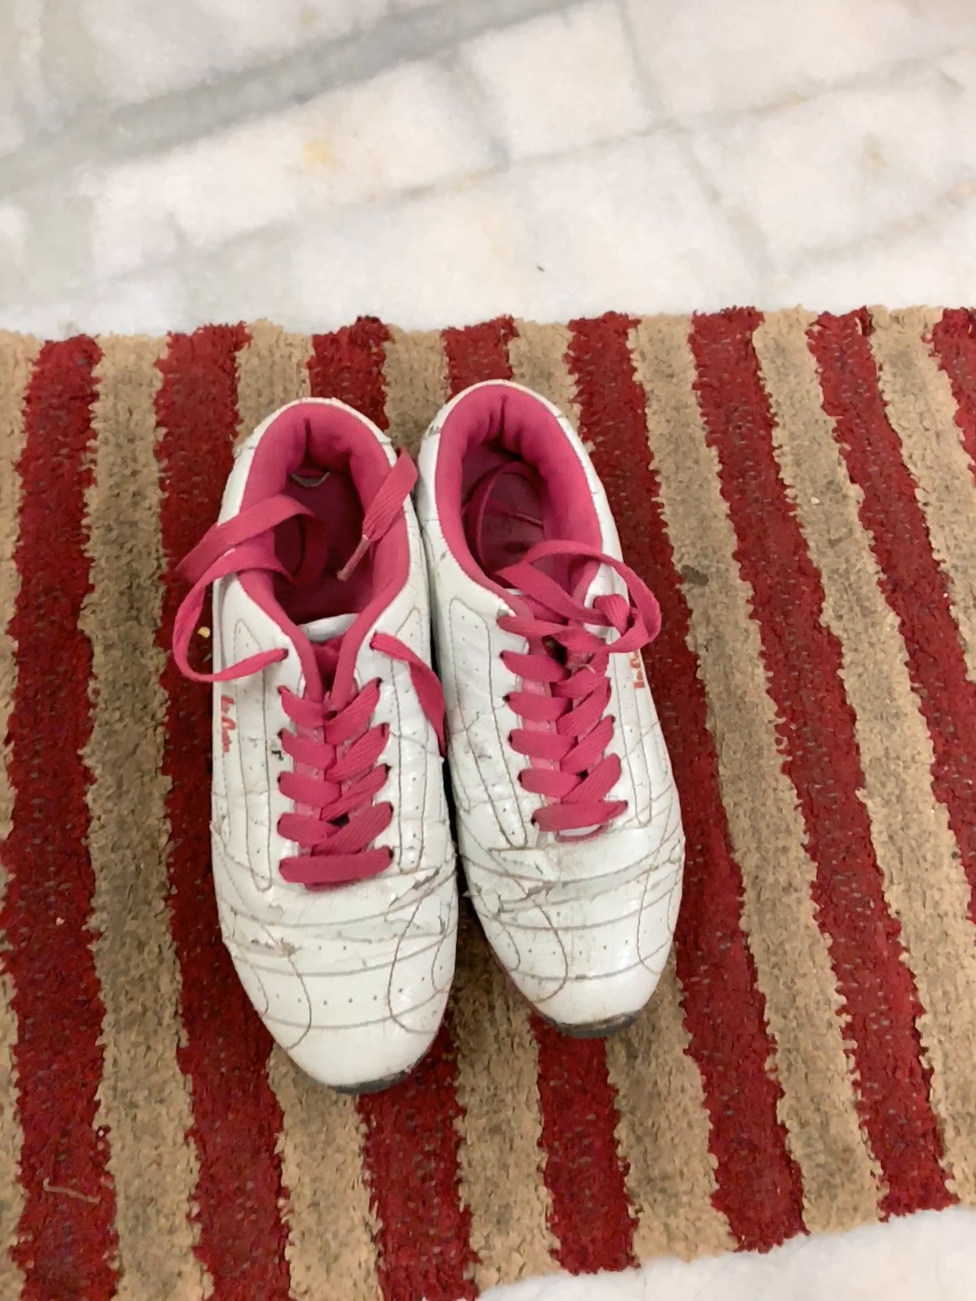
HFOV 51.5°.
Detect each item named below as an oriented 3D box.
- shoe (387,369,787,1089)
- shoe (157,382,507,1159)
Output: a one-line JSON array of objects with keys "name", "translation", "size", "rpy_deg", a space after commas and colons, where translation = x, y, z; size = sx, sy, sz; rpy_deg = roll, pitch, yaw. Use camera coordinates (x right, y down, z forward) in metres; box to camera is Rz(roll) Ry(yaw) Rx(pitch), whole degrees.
[{"name": "shoe", "translation": [0.023, 0.027, 0.390], "size": [0.100, 0.100, 0.241], "rpy_deg": [-5, 73, -7]}, {"name": "shoe", "translation": [-0.059, 0.037, 0.368], "size": [0.090, 0.100, 0.241], "rpy_deg": [-5, 73, -7]}]
